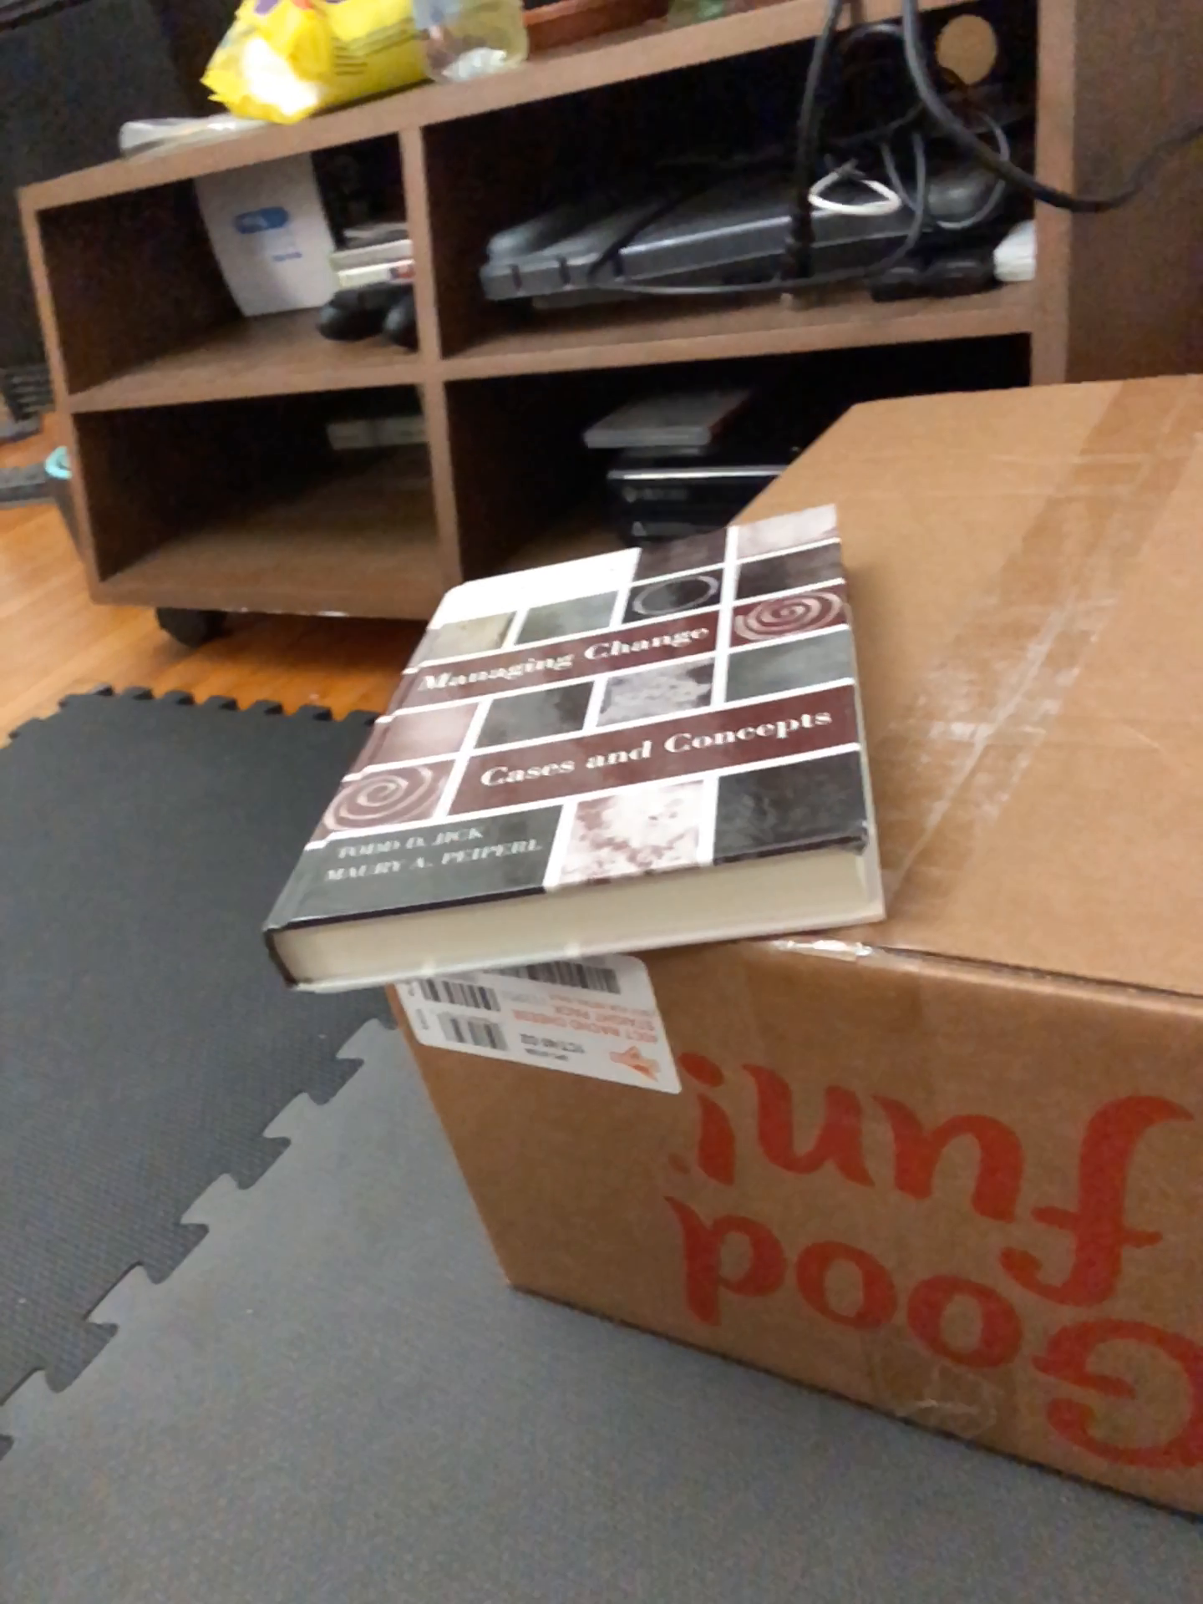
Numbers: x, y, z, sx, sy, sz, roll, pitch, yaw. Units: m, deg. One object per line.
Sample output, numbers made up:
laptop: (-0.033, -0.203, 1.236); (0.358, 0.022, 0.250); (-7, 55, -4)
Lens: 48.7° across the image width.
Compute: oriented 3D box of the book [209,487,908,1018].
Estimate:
book: (-0.001, -0.032, 0.448); (0.180, 0.030, 0.251); (-8, 31, 12)
